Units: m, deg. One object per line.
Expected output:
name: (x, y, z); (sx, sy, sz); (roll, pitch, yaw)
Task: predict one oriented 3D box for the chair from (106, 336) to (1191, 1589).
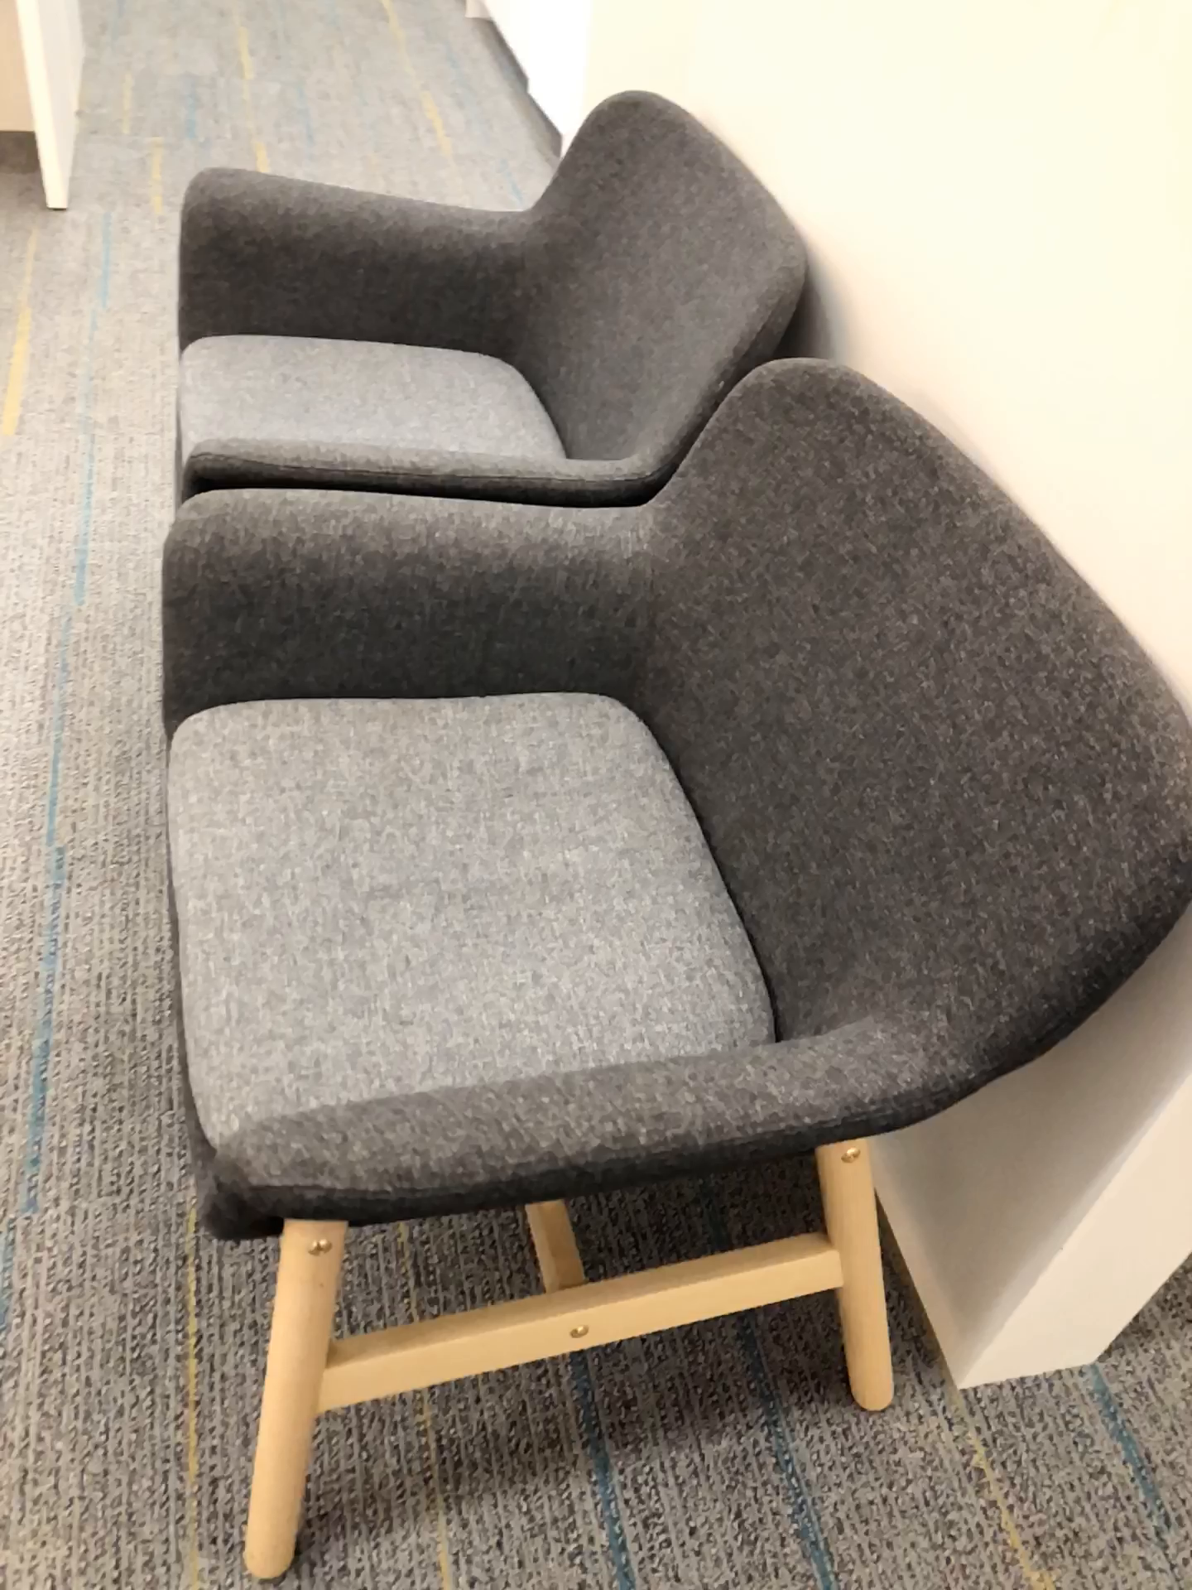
chair: (0.018, 0.156, 1.194); (0.730, 0.835, 0.745); (-3, 45, -13)
